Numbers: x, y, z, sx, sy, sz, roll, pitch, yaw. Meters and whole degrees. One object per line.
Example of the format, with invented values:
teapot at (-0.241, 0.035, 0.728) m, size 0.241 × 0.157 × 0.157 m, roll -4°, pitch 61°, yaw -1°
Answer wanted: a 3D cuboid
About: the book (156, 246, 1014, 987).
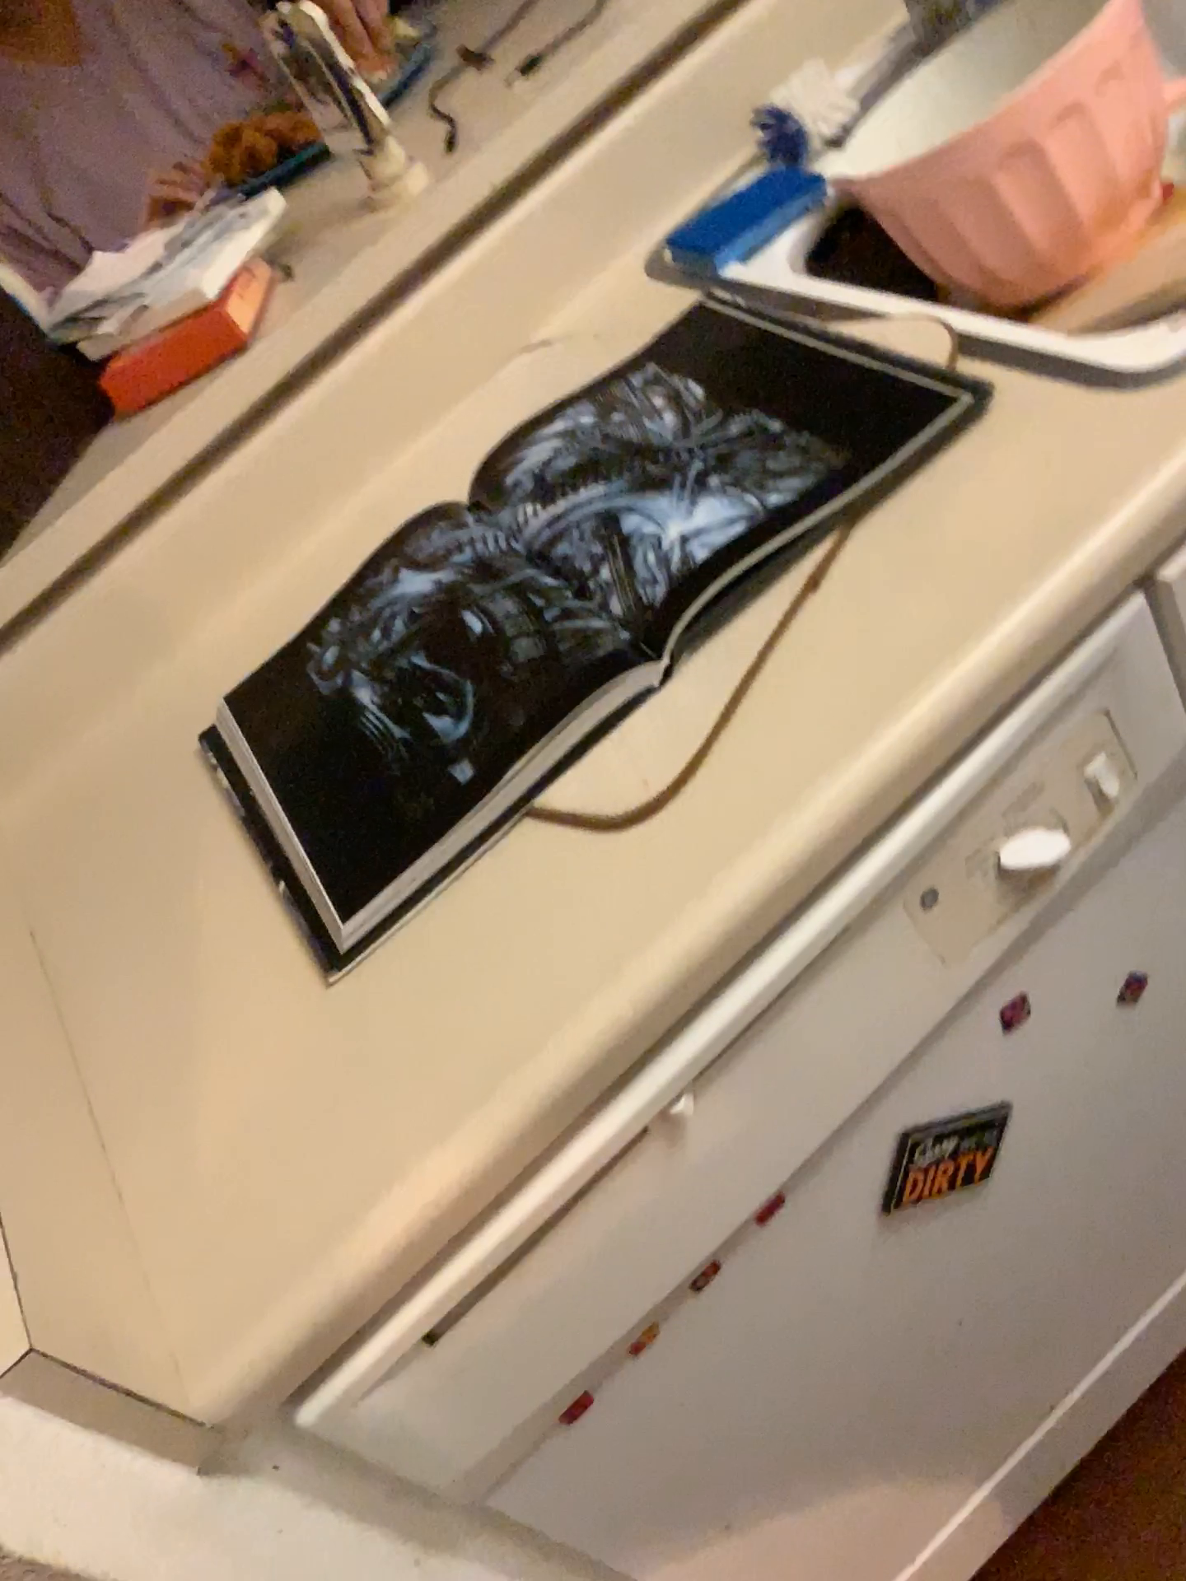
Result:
book at (-0.041, -0.154, 0.883) m, size 0.530 × 0.040 × 0.350 m, roll -41°, pitch 40°, yaw -3°
